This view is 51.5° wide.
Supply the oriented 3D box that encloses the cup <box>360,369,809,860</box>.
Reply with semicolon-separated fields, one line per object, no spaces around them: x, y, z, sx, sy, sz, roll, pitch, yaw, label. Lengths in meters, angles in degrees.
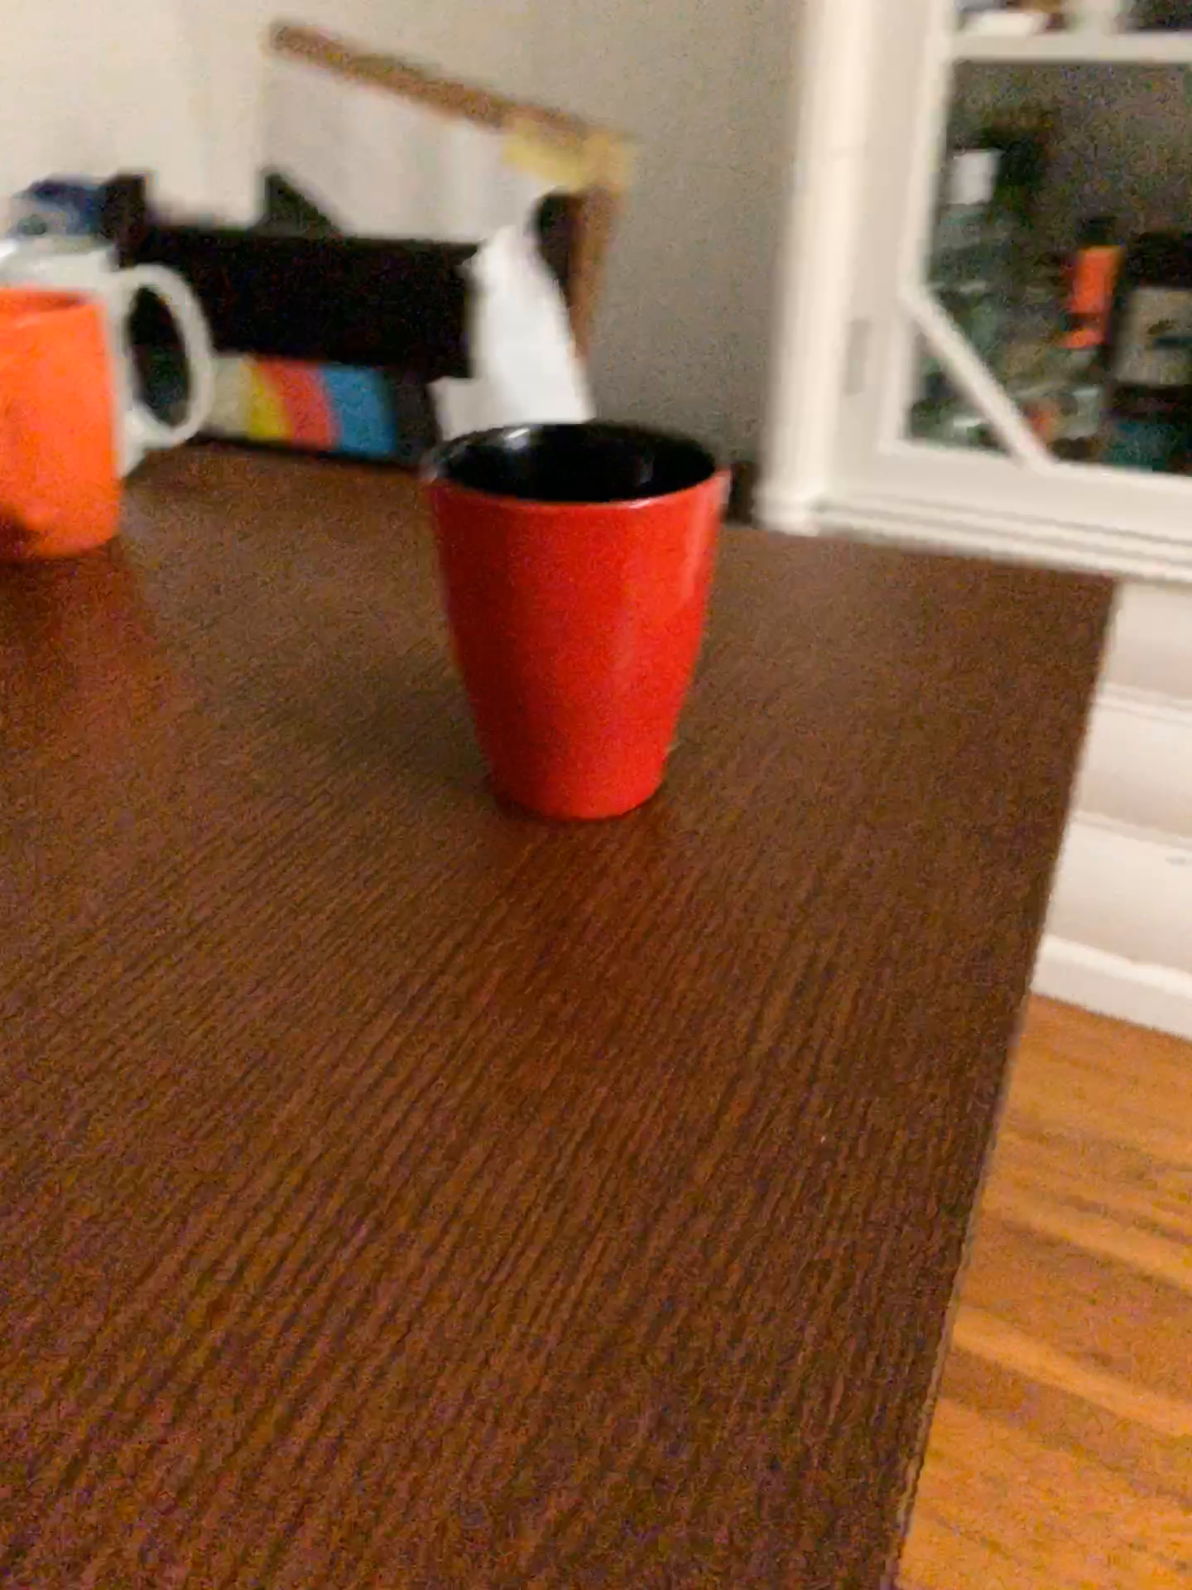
-0.010;-0.064;0.384;0.090;0.099;0.131;-11;32;-18;cup
